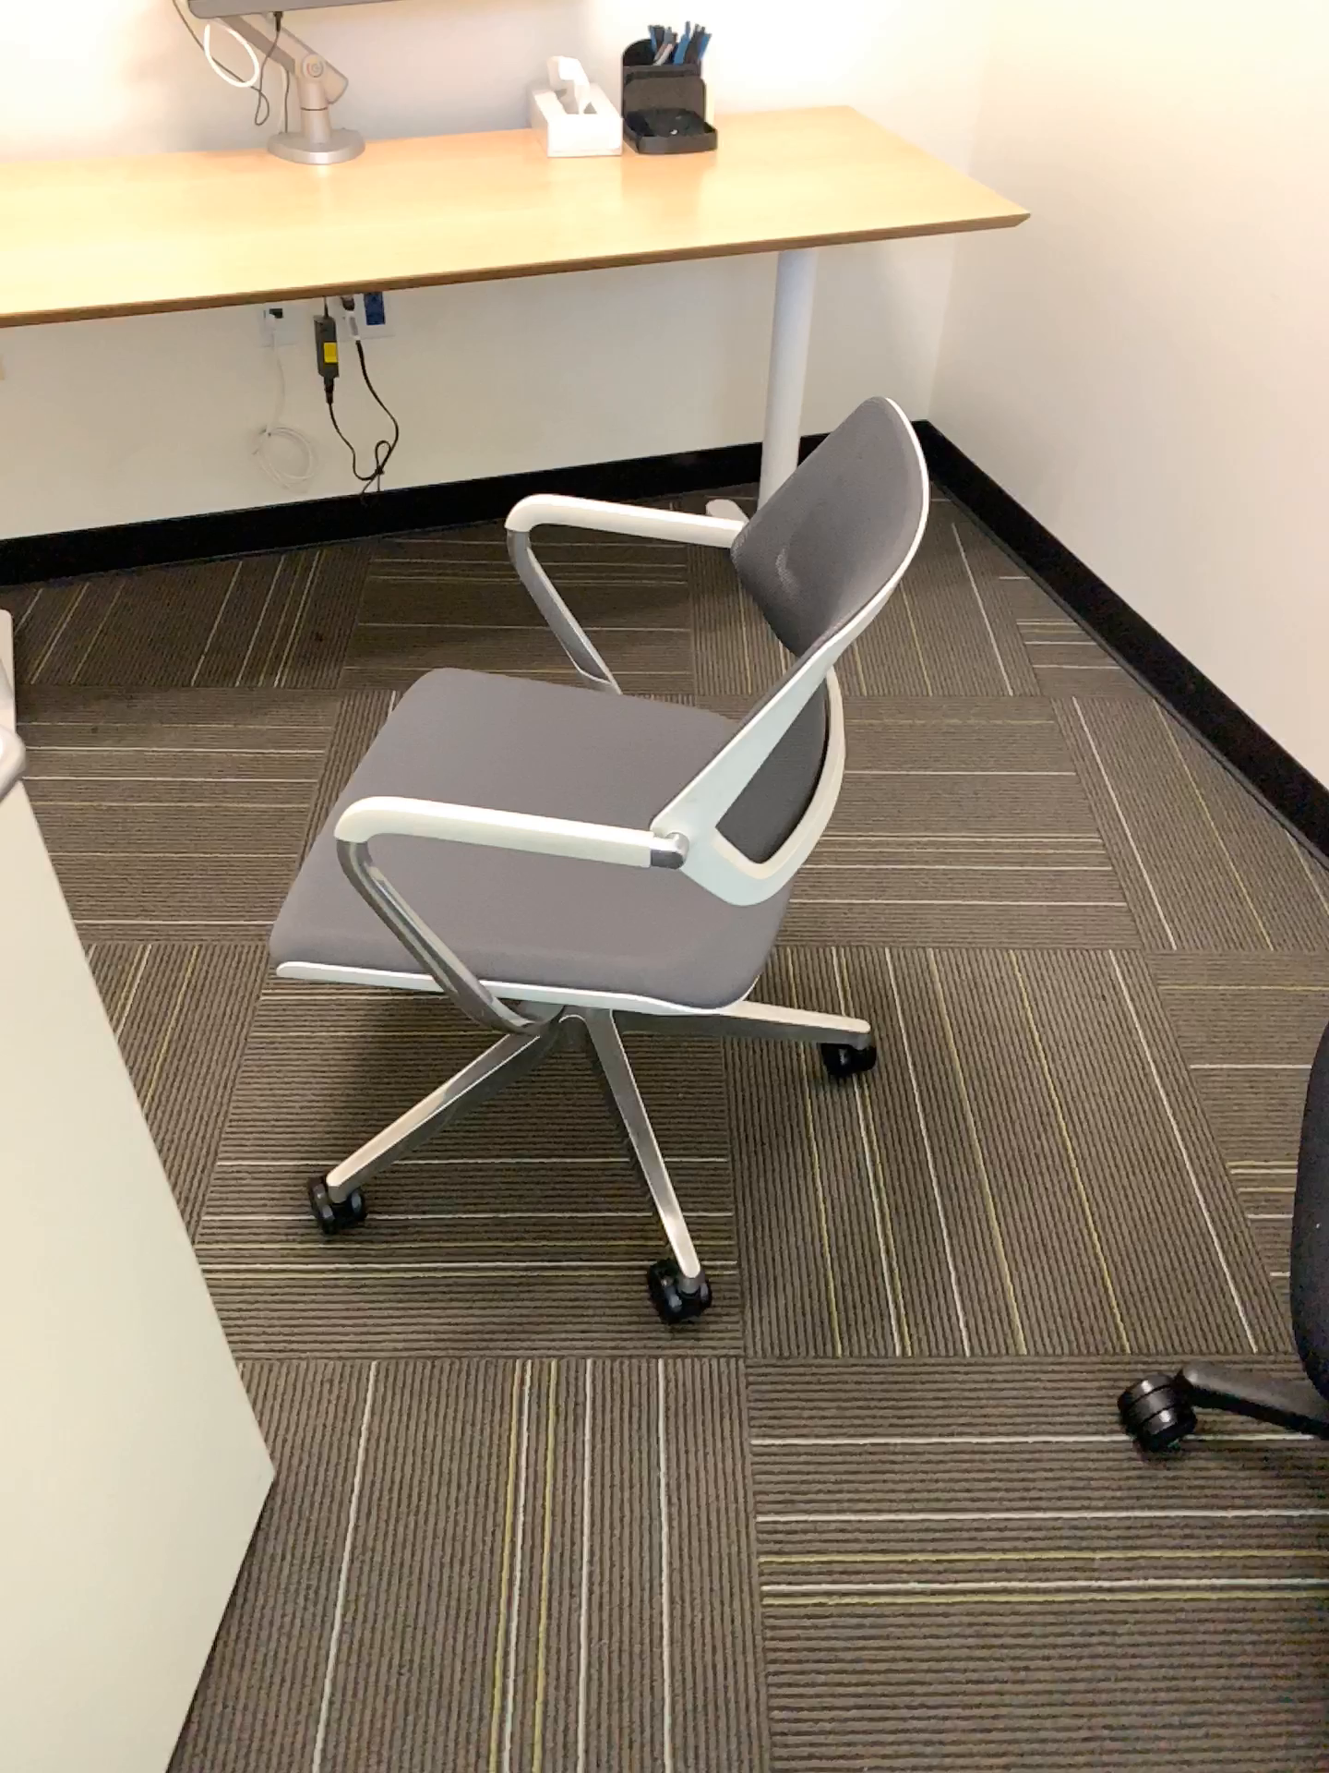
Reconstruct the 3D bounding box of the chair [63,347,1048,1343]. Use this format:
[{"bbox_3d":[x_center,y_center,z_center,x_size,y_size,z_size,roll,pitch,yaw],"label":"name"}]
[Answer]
[{"bbox_3d":[-0.060,-0.032,1.237,0.590,0.666,0.553,4,43,2],"label":"chair"}]
